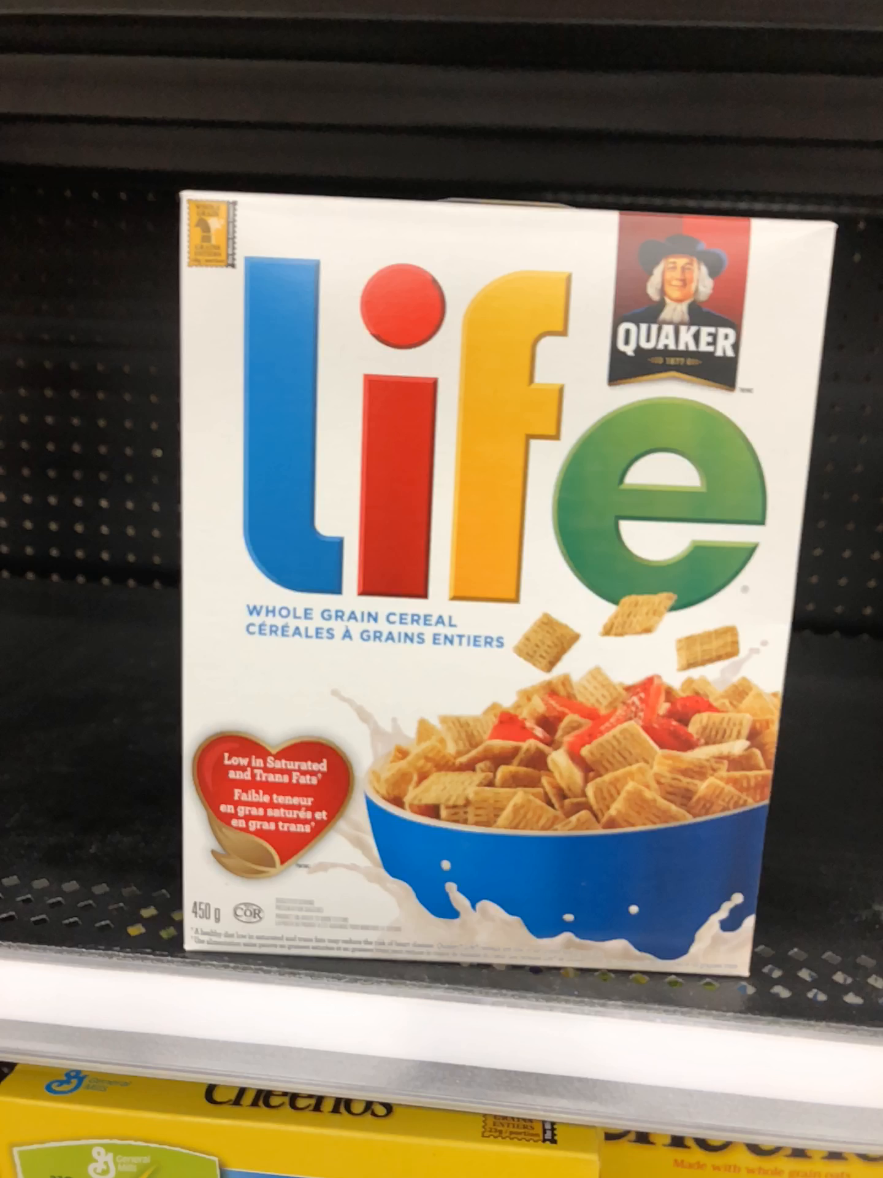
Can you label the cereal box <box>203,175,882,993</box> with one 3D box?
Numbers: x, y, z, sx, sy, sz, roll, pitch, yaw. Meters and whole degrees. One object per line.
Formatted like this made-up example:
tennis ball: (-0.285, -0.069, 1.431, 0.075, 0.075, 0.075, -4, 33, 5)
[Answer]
cereal box: (0.024, 0.003, 0.346, 0.200, 0.259, 0.060, 3, 12, 0)
